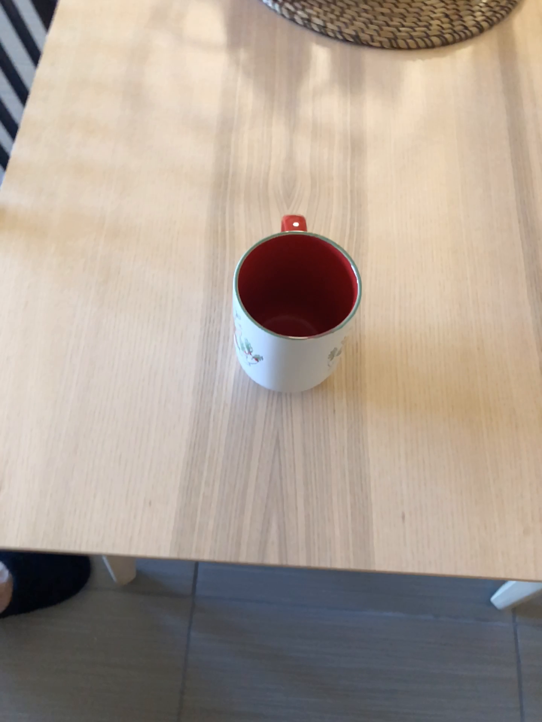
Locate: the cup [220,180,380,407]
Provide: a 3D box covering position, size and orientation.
[{"bbox_3d":[0.014,-0.049,0.462,0.100,0.100,0.140,-2,65,-4],"label":"cup"}]
